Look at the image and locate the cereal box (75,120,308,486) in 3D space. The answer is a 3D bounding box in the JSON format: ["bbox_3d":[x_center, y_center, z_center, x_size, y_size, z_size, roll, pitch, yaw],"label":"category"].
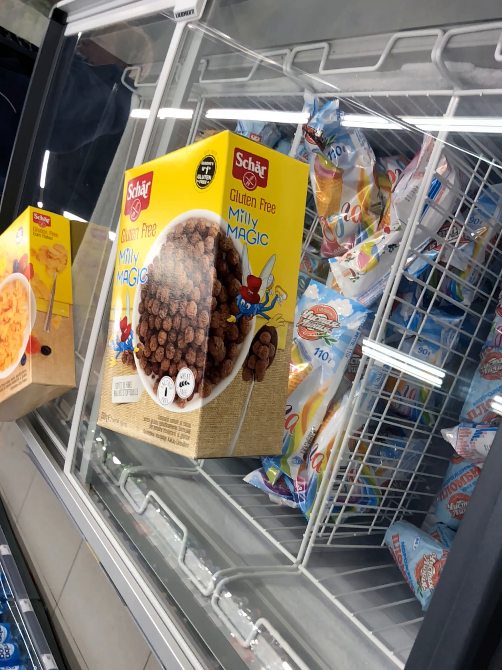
[{"bbox_3d":[-0.053,-0.019,0.417,0.171,0.070,0.220,3,86,51],"label":"cereal box"}]
